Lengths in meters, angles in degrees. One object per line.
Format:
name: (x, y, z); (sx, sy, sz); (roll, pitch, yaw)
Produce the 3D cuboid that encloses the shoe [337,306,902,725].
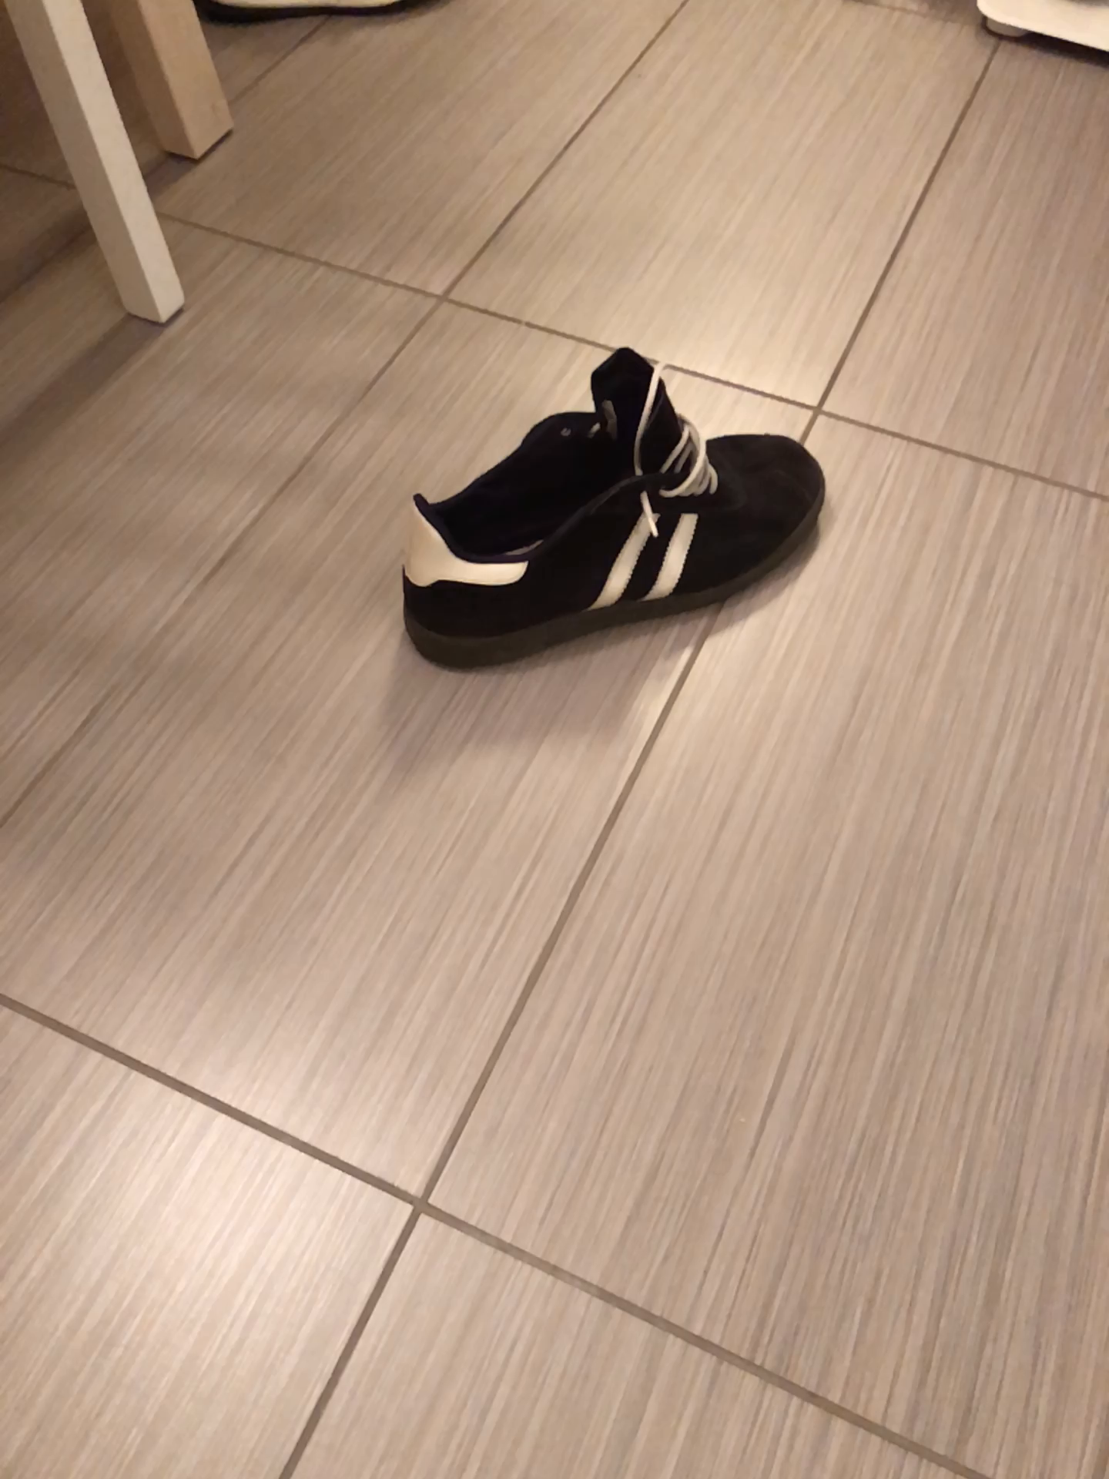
shoe: (0.040, -0.141, 0.752); (0.311, 0.119, 0.110); (-23, 58, -16)
